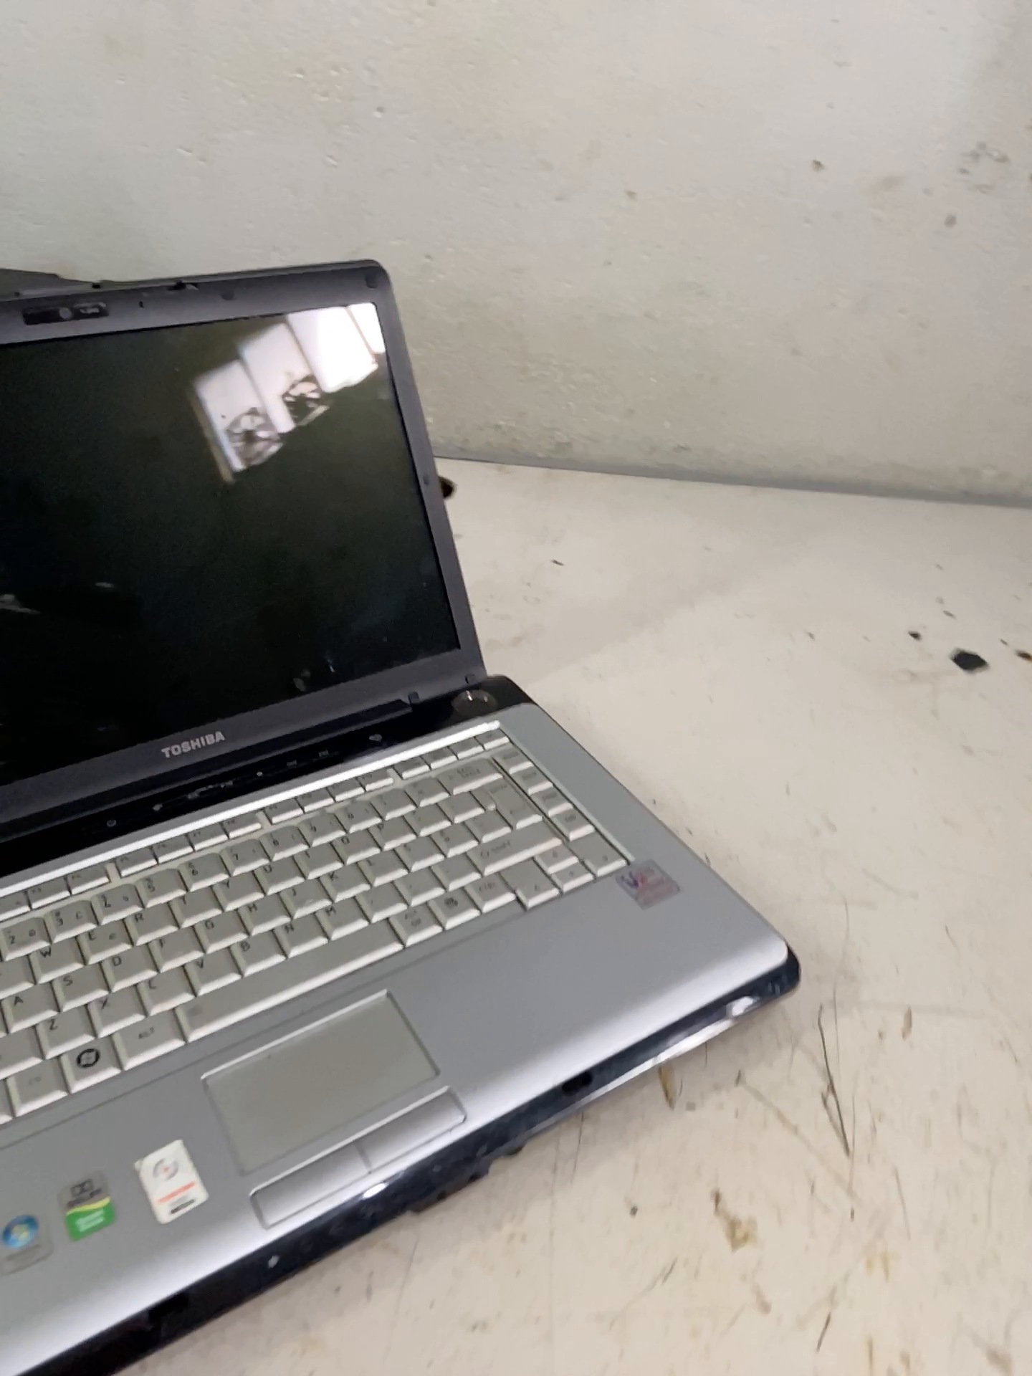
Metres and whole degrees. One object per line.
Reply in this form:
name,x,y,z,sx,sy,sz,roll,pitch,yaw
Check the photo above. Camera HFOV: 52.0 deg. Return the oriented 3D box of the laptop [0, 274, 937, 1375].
laptop,-0.123,-0.011,0.451,0.351,0.200,0.394,-18,39,-27
